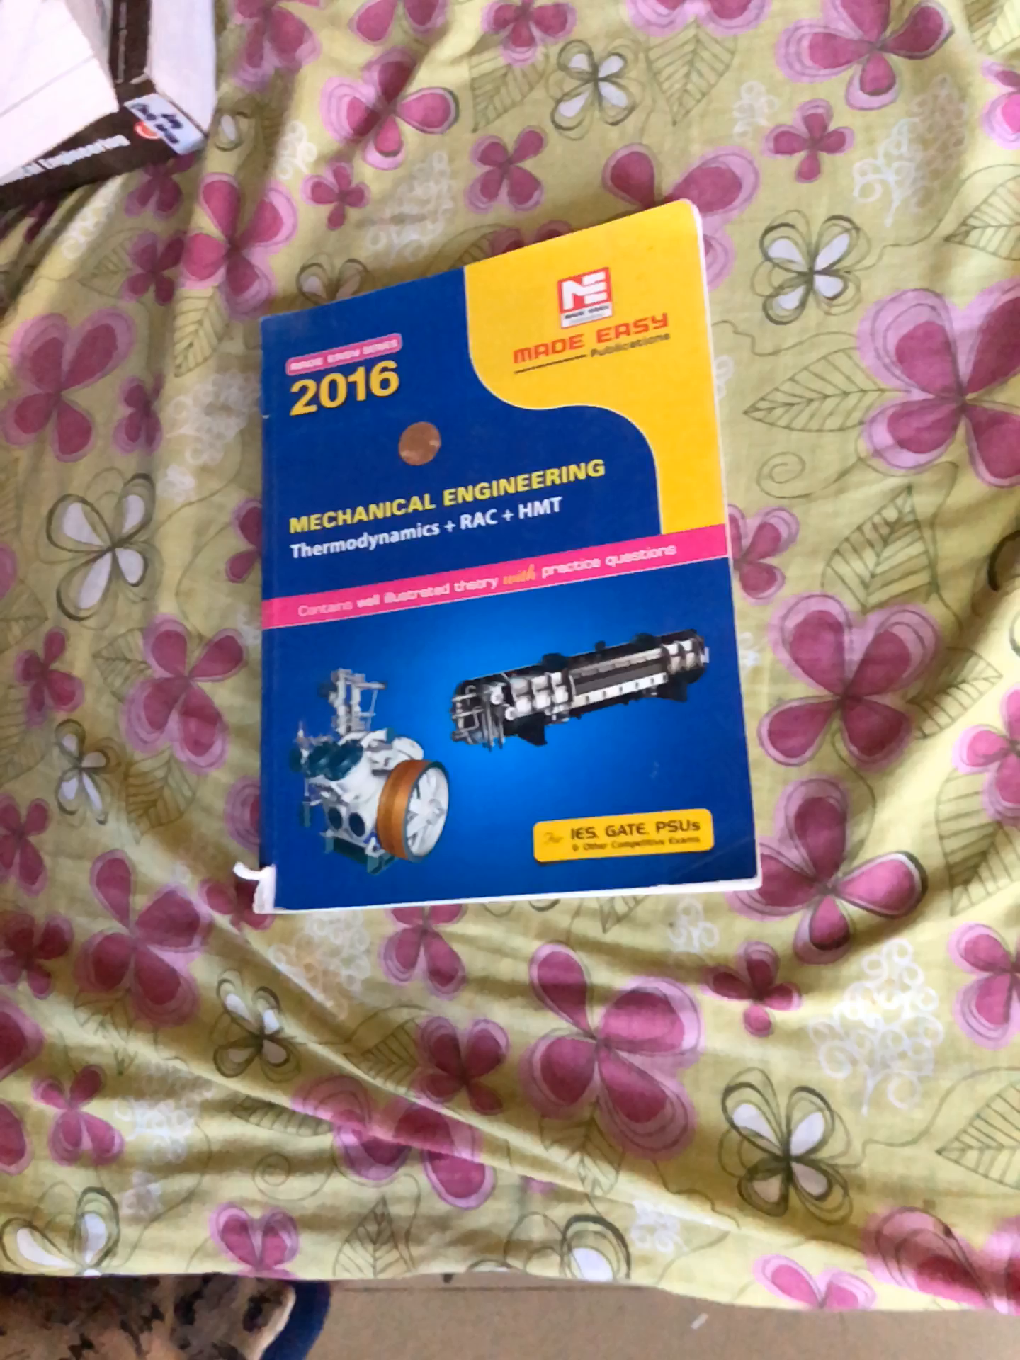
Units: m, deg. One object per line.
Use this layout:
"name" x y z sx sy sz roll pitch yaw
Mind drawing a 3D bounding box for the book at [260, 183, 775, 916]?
"book" -0.009 -0.047 0.463 0.200 0.030 0.269 -9 76 22
